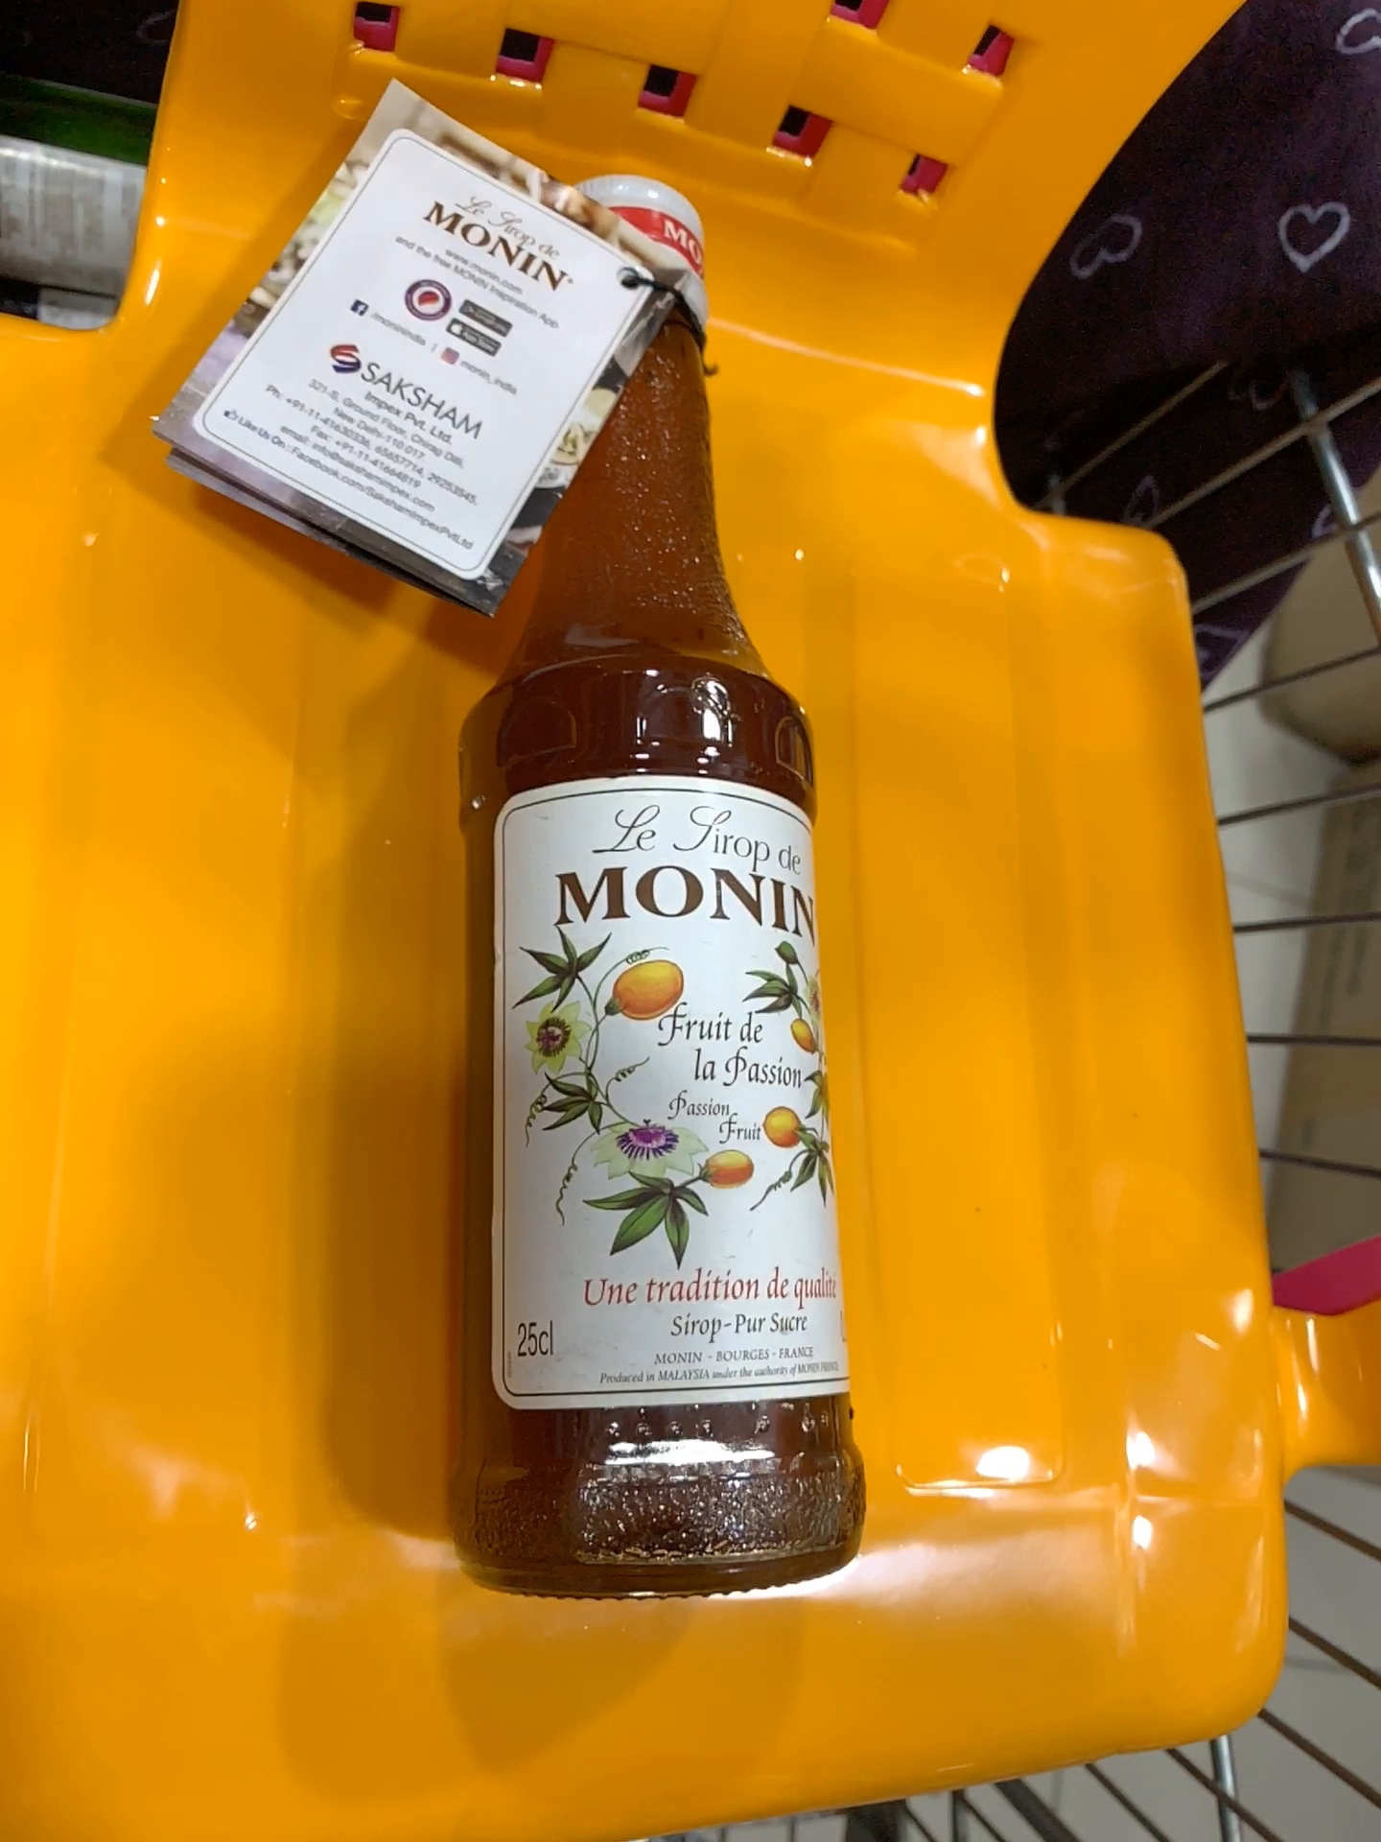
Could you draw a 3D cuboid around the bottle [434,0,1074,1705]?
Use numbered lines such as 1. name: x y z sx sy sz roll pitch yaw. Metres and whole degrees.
1. bottle: 0.003 -0.021 0.205 0.060 0.060 0.220 5 74 -20
